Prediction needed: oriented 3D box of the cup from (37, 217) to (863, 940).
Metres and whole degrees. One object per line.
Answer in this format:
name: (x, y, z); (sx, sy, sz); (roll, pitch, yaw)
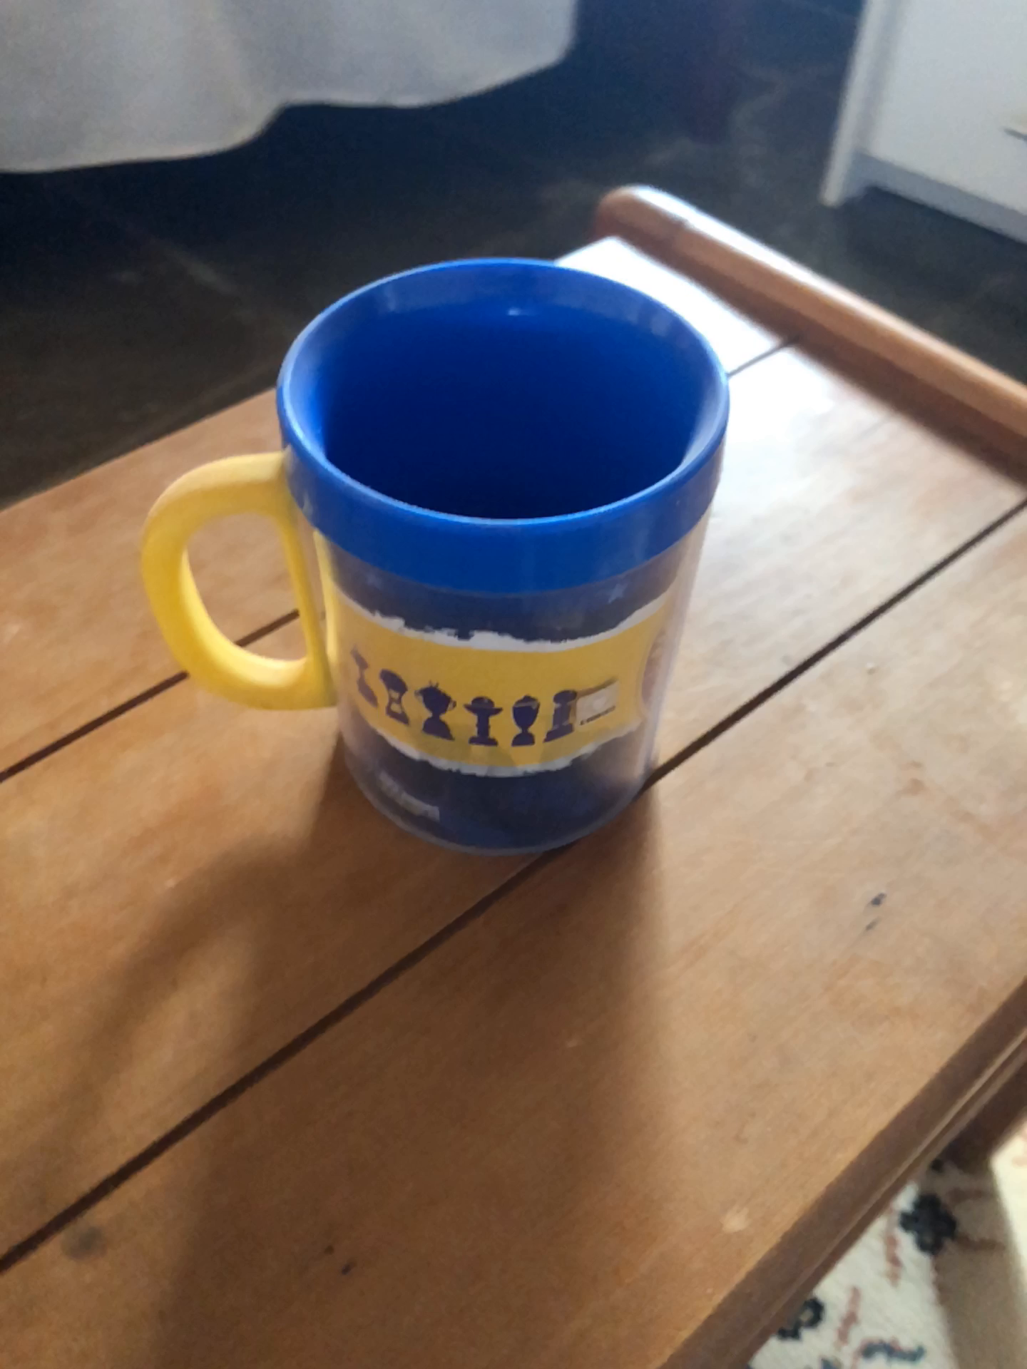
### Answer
cup: (-0.013, -0.020, 0.238); (0.120, 0.109, 0.091); (-4, 49, -5)
